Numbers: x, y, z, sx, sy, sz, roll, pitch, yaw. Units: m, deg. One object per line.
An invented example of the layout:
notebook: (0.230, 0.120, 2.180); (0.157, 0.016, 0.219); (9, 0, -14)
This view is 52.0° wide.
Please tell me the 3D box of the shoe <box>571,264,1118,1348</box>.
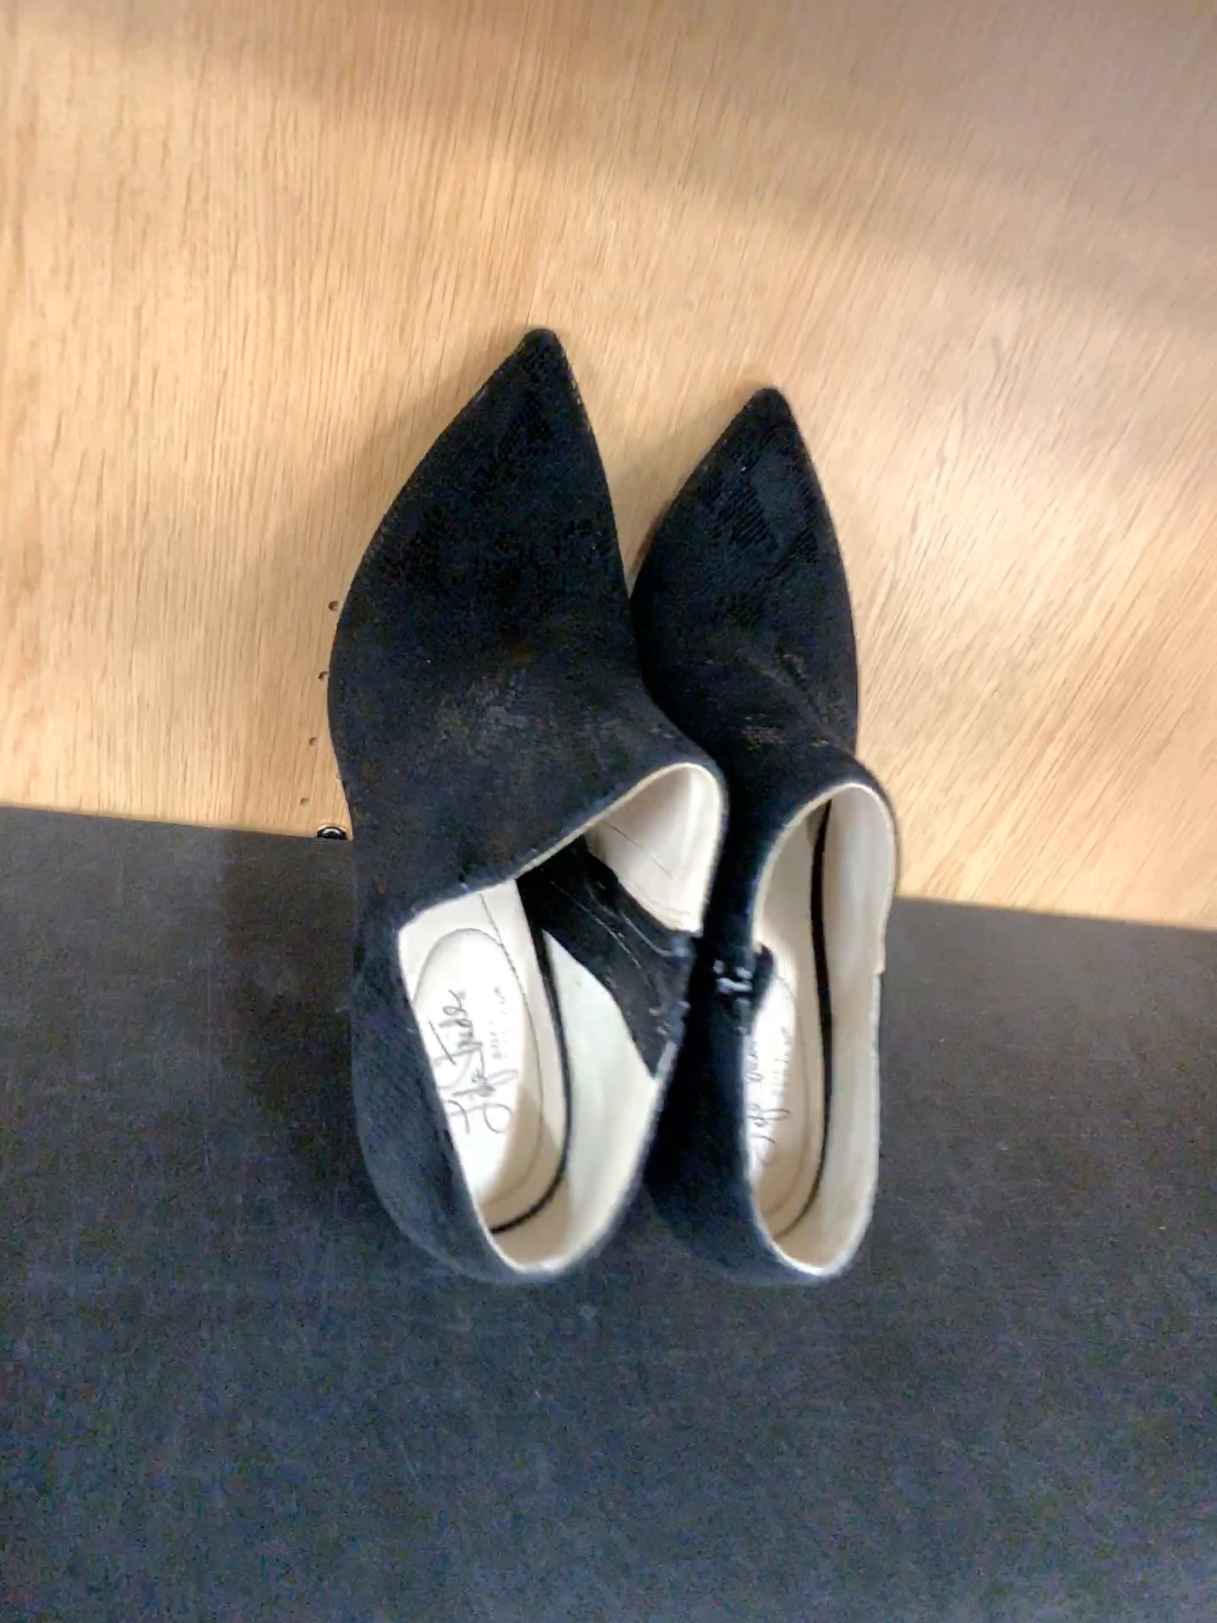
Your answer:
shoe: (0.064, 0.000, 0.395); (0.111, 0.280, 0.120); (7, -2, -6)

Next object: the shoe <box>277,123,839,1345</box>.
shoe: (-0.025, -0.014, 0.355); (0.101, 0.270, 0.140); (6, -2, -17)
